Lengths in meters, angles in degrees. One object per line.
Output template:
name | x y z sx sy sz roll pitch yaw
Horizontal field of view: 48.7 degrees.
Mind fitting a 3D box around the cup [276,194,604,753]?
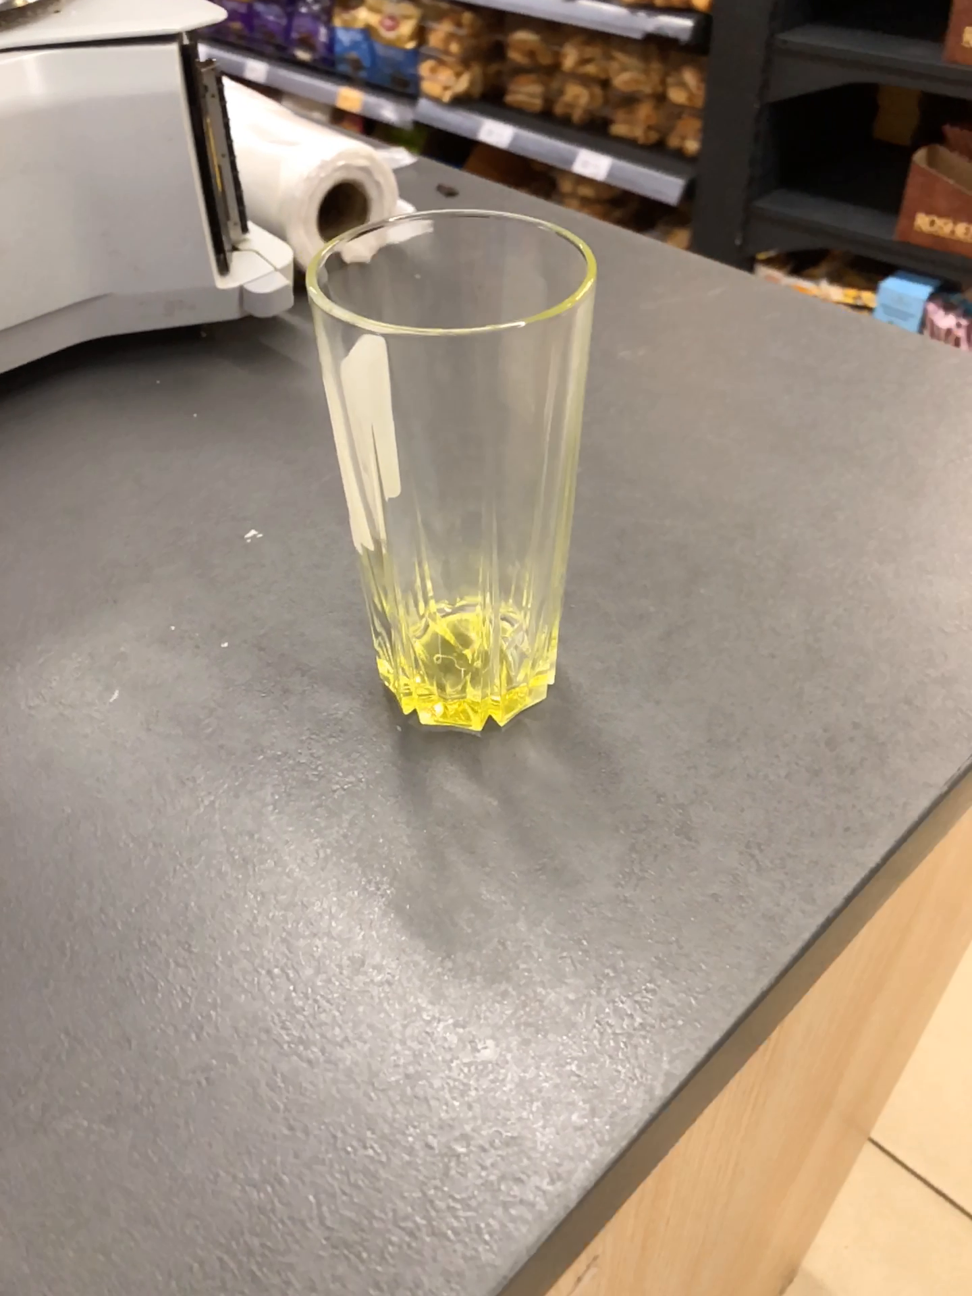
cup | -0.006 -0.045 0.301 0.070 0.134 0.075 -1 43 1
